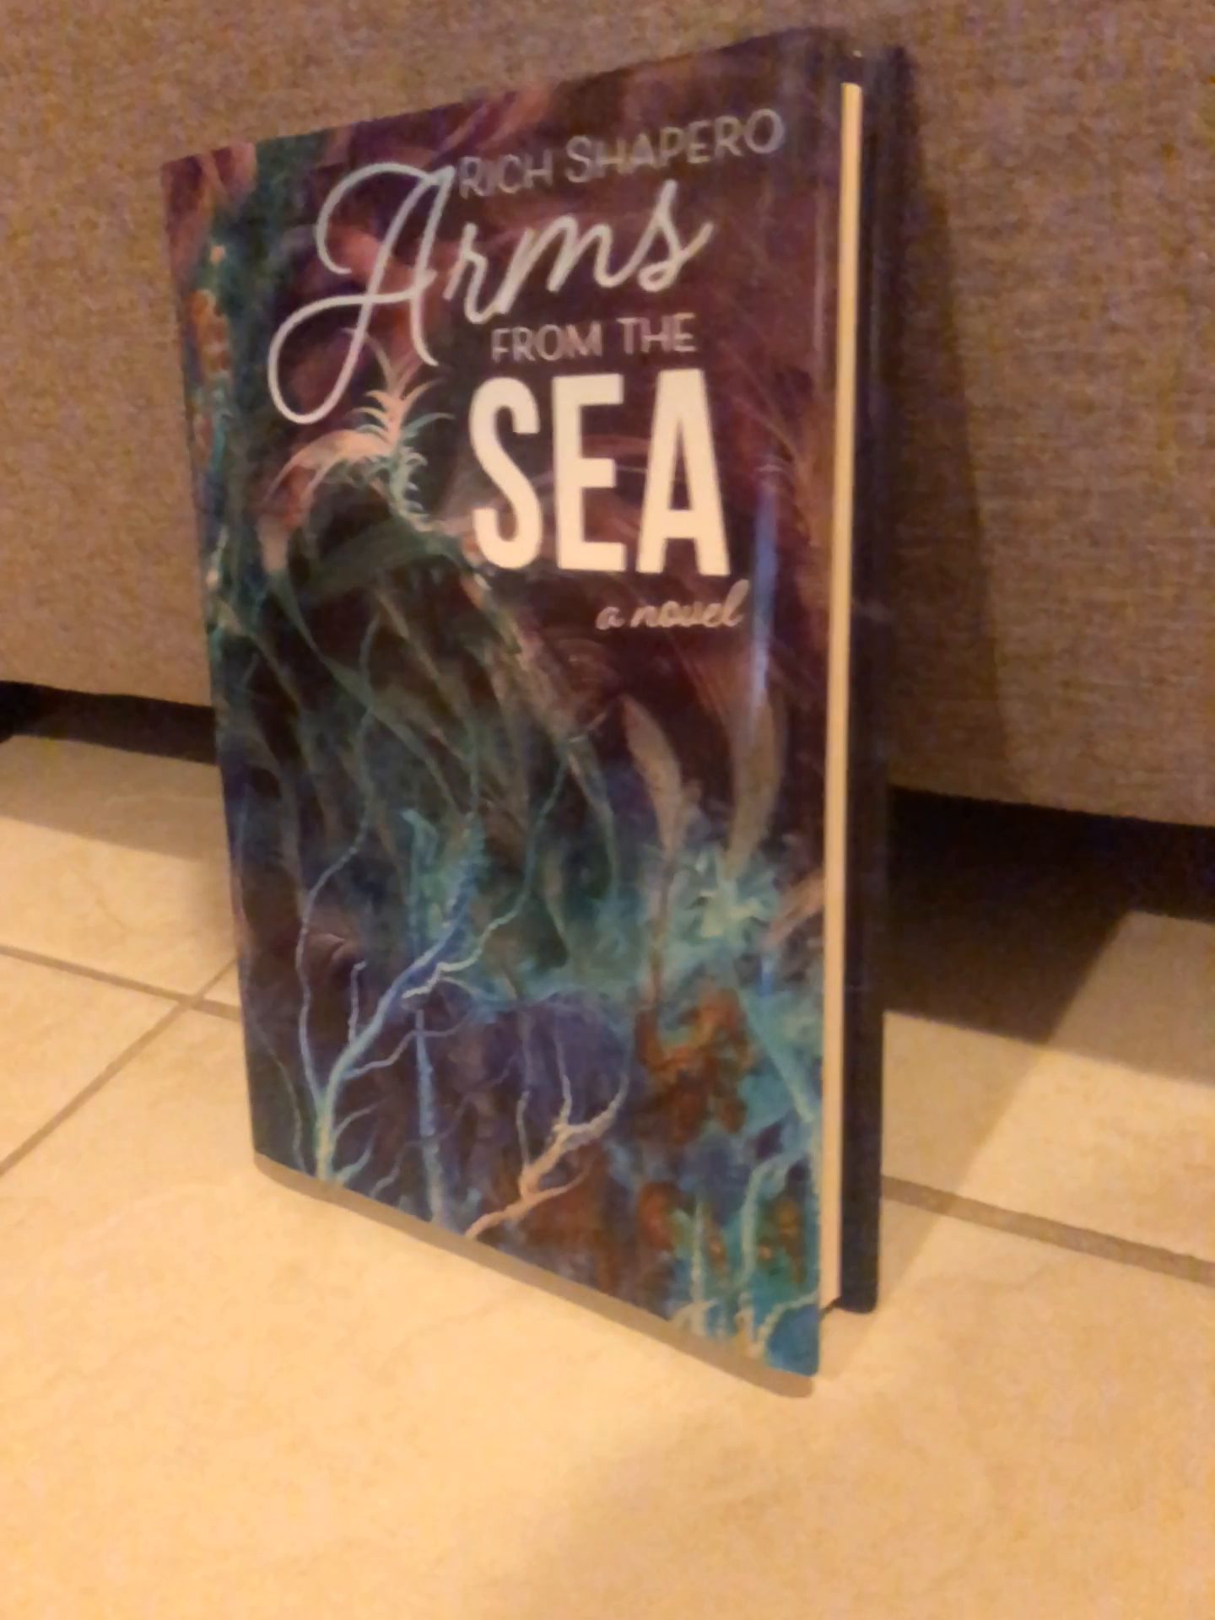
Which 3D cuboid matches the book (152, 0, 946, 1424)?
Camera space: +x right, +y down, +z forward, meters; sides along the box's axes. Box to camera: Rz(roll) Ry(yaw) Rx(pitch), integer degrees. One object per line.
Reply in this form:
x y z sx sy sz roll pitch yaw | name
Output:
-0.018 -0.015 0.269 0.157 0.228 0.030 9 17 34 | book
